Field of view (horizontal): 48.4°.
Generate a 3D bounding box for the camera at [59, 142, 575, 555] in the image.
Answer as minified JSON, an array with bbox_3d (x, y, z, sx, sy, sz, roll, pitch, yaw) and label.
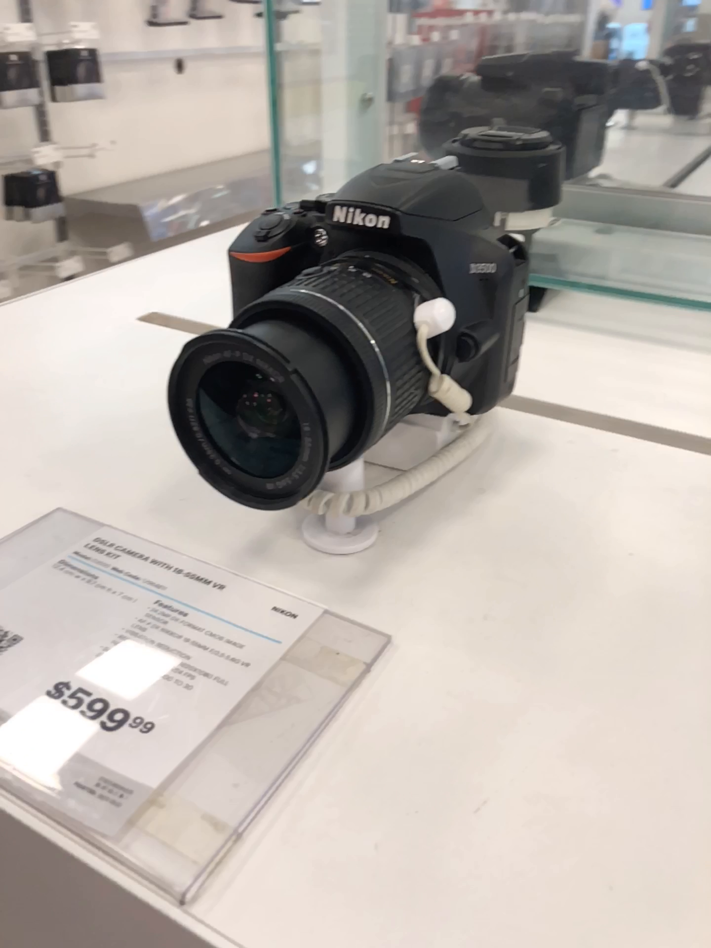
[{"bbox_3d":[-0.003,-0.069,0.323,0.120,0.100,0.170,17,33,27],"label":"camera"}]
